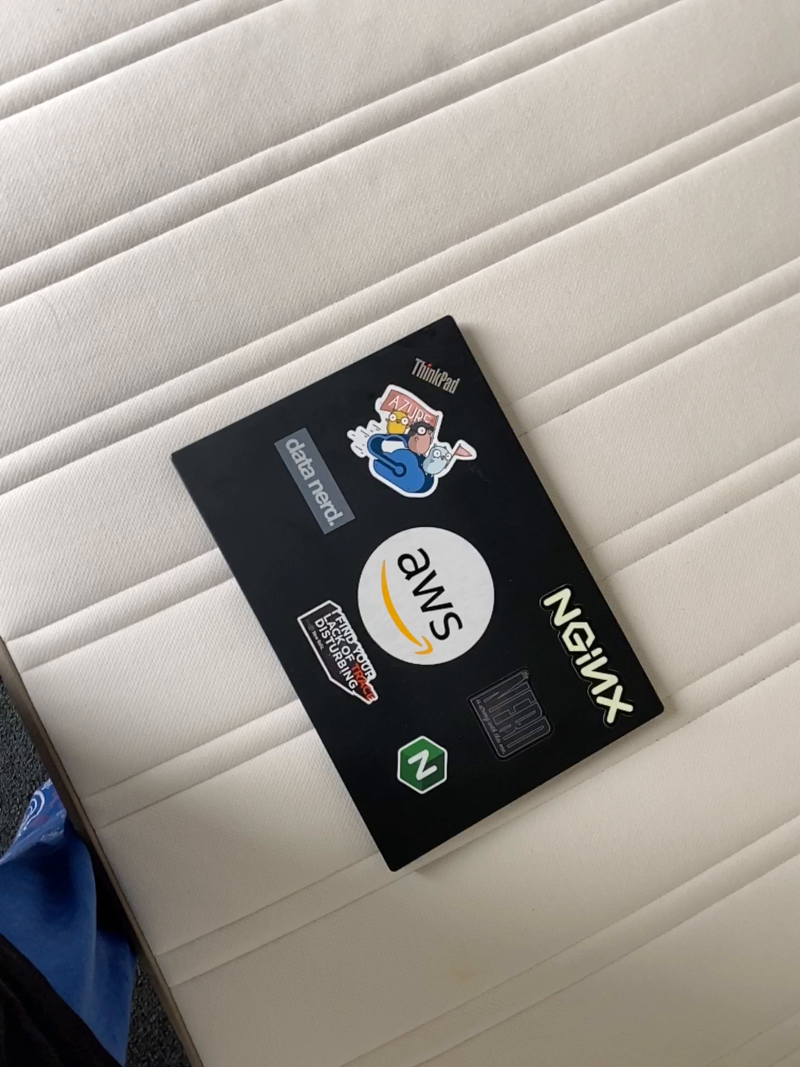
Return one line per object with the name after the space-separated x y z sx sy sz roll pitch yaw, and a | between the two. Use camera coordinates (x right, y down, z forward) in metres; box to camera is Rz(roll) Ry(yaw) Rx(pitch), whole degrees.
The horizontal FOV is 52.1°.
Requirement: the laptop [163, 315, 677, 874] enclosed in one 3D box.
0.018 0.034 0.567 0.224 0.014 0.322 -28 88 -10 | laptop
